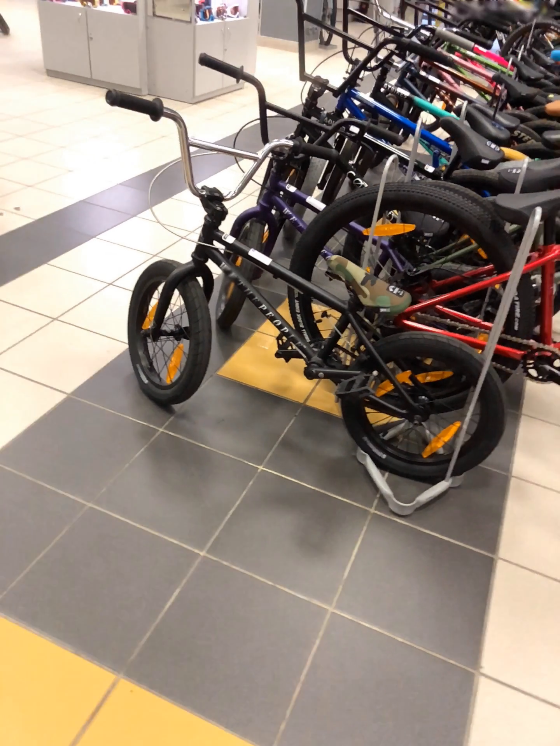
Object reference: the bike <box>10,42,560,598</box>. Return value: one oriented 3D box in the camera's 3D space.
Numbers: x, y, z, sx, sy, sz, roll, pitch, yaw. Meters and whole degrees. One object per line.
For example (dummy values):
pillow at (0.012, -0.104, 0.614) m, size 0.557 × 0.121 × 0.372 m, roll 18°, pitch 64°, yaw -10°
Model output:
bike at (0.068, -0.218, 1.481) m, size 1.073 × 0.810 × 0.679 m, roll 22°, pitch 36°, yaw 18°
